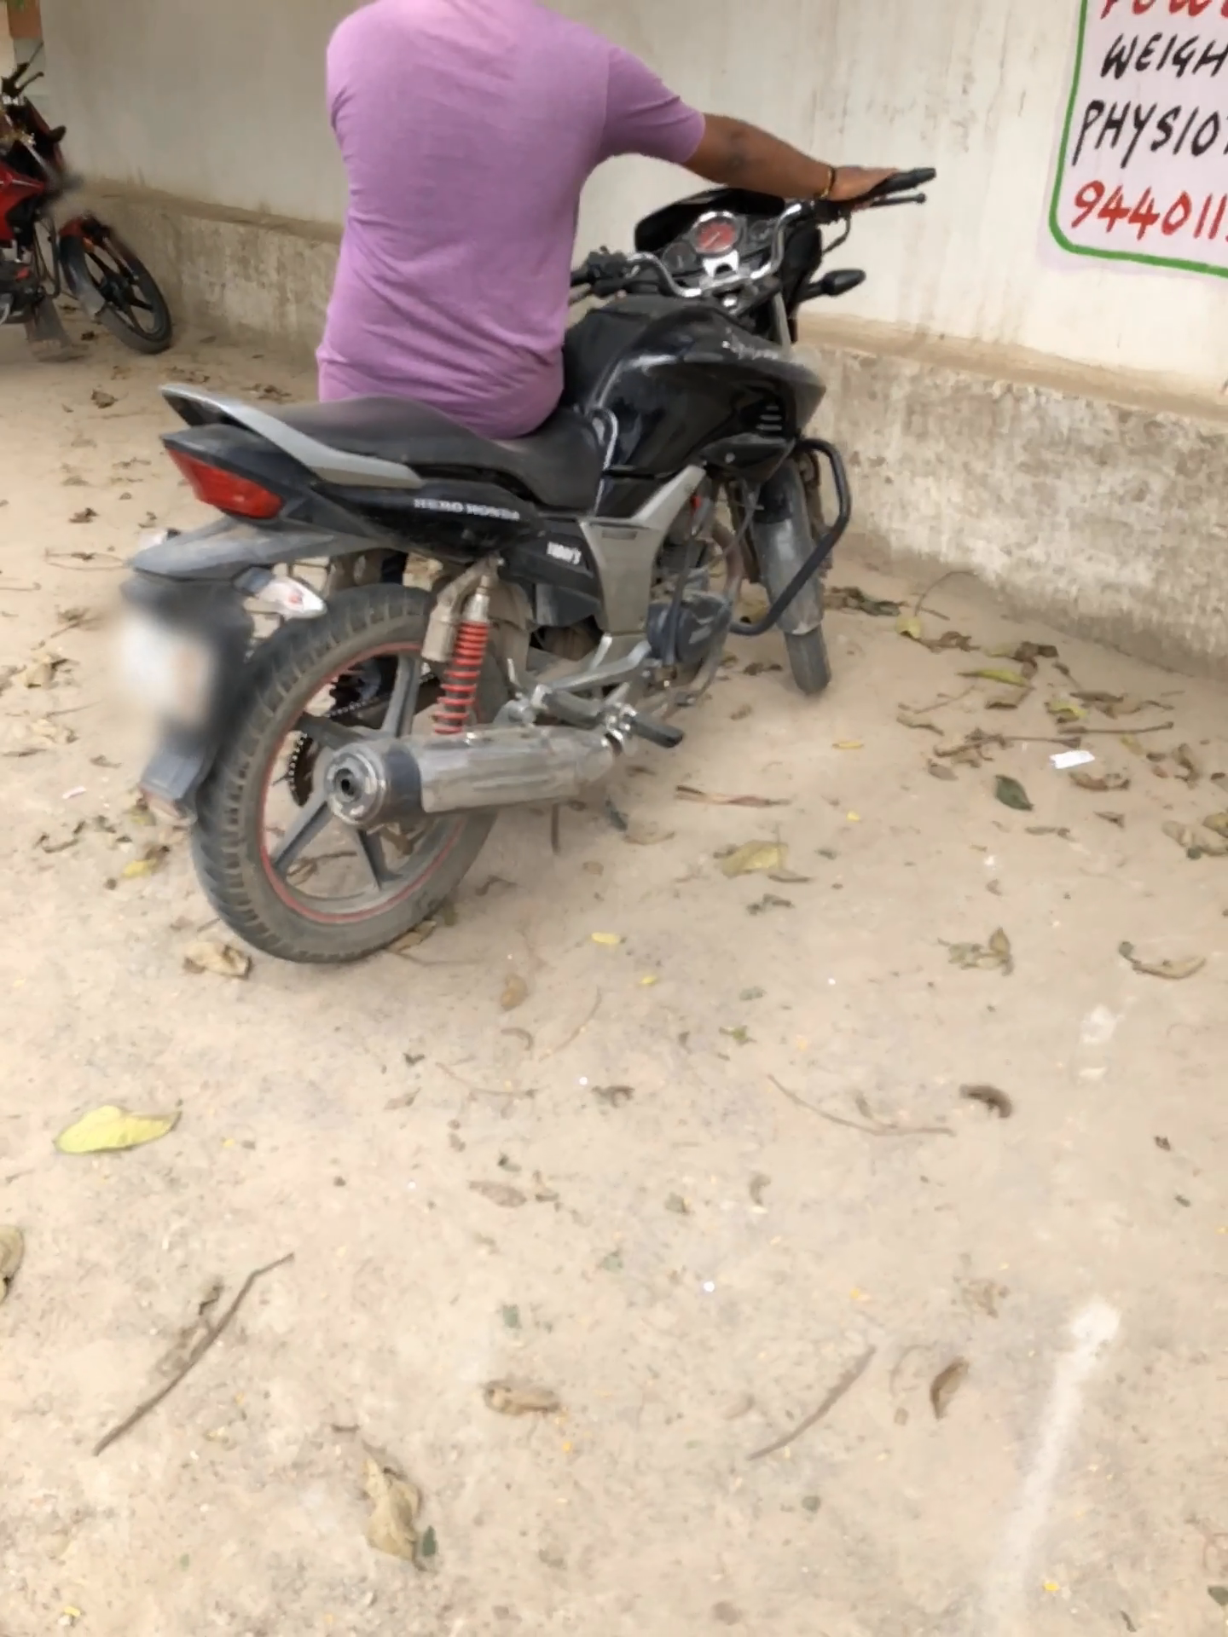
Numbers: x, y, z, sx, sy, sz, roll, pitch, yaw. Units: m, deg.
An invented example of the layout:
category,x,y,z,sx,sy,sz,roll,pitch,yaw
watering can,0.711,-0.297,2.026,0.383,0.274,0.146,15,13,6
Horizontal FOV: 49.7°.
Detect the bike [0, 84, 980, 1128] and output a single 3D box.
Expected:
category,x,y,z,sx,sy,sz,roll,pitch,yaw
bike,-0.076,-0.646,2.476,0.823,1.190,1.850,17,34,27
